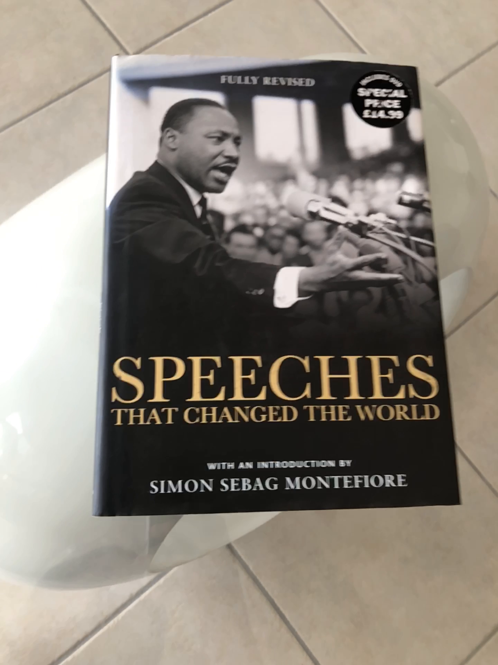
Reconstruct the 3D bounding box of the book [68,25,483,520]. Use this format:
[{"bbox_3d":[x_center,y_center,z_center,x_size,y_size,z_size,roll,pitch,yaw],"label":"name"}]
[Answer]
[{"bbox_3d":[0.012,-0.045,0.334,0.210,0.040,0.290,0,75,-5],"label":"book"}]
